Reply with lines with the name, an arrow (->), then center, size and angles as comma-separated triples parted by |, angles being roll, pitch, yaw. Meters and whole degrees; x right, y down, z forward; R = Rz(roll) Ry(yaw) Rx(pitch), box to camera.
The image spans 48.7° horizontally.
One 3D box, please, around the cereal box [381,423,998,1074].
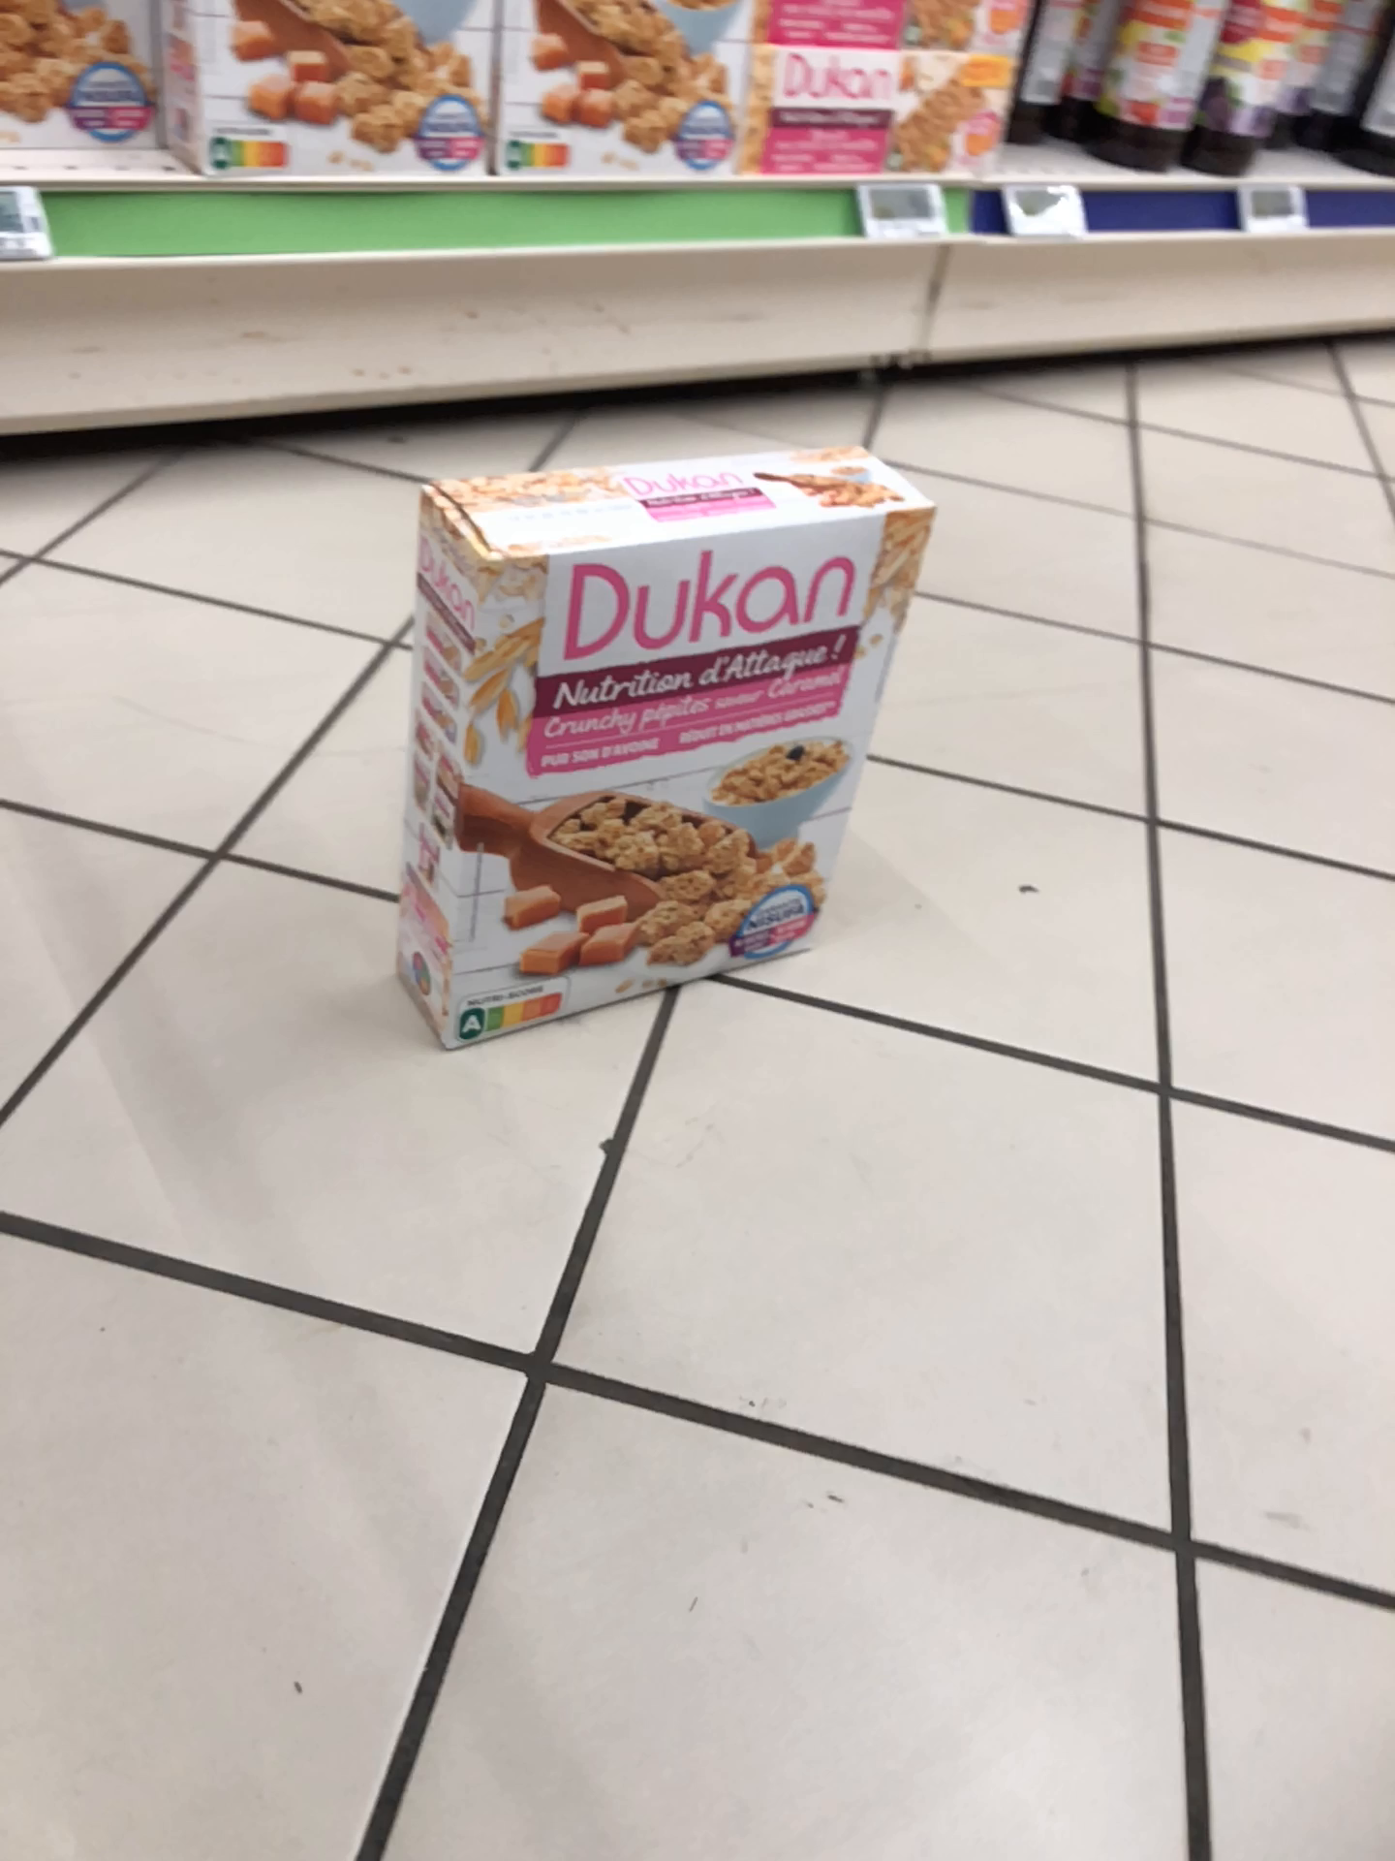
cereal box -> -0.009, -0.066, 0.550 | 0.191, 0.199, 0.060 | -15, 44, -30
